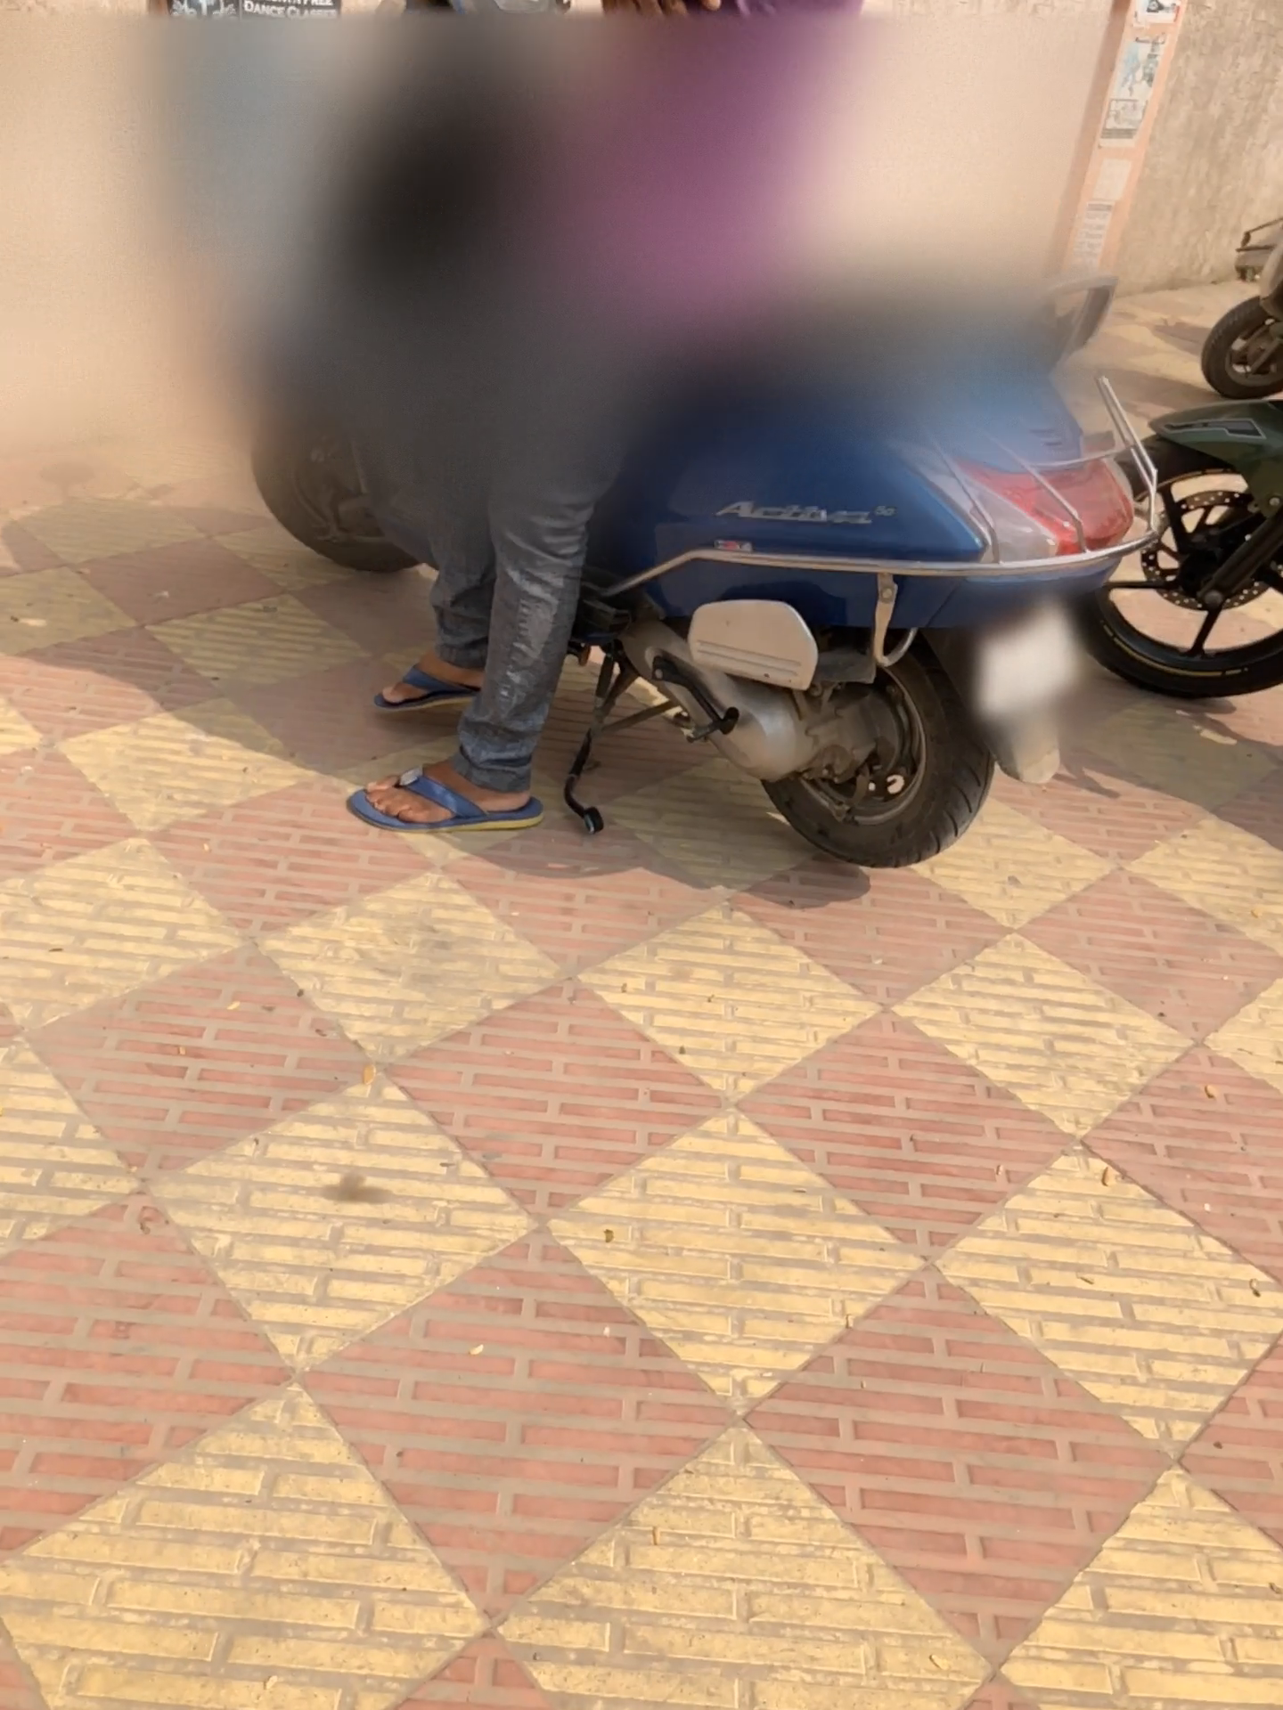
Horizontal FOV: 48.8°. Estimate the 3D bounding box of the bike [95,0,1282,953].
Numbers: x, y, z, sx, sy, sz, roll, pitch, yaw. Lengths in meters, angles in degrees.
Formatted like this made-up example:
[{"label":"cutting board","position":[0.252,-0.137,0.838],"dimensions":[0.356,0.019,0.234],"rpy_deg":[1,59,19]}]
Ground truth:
[{"label":"bike","position":[-0.081,-0.771,2.261],"dimensions":[1.701,1.037,0.626],"rpy_deg":[30,40,31]}]
